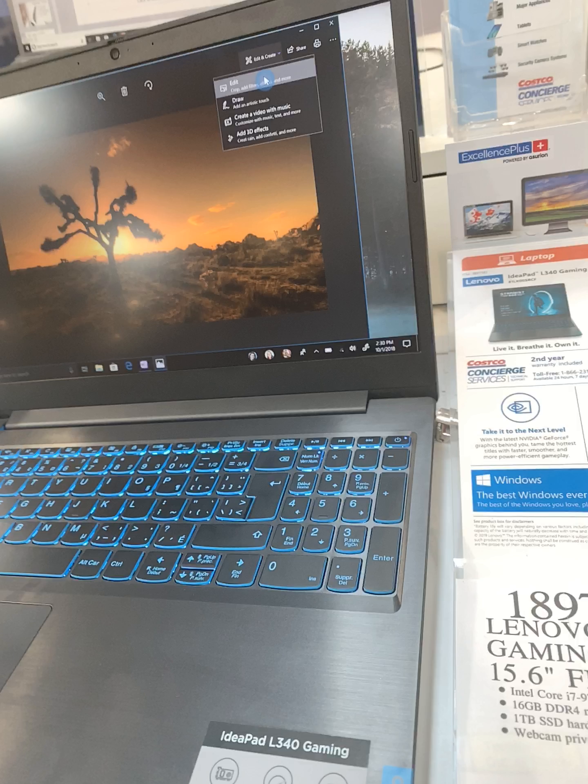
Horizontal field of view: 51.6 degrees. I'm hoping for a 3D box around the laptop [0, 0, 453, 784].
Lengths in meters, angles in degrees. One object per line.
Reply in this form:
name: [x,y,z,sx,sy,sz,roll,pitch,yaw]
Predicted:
laptop: [-0.109,-0.033,0.293,0.340,0.214,0.330,-3,33,17]
